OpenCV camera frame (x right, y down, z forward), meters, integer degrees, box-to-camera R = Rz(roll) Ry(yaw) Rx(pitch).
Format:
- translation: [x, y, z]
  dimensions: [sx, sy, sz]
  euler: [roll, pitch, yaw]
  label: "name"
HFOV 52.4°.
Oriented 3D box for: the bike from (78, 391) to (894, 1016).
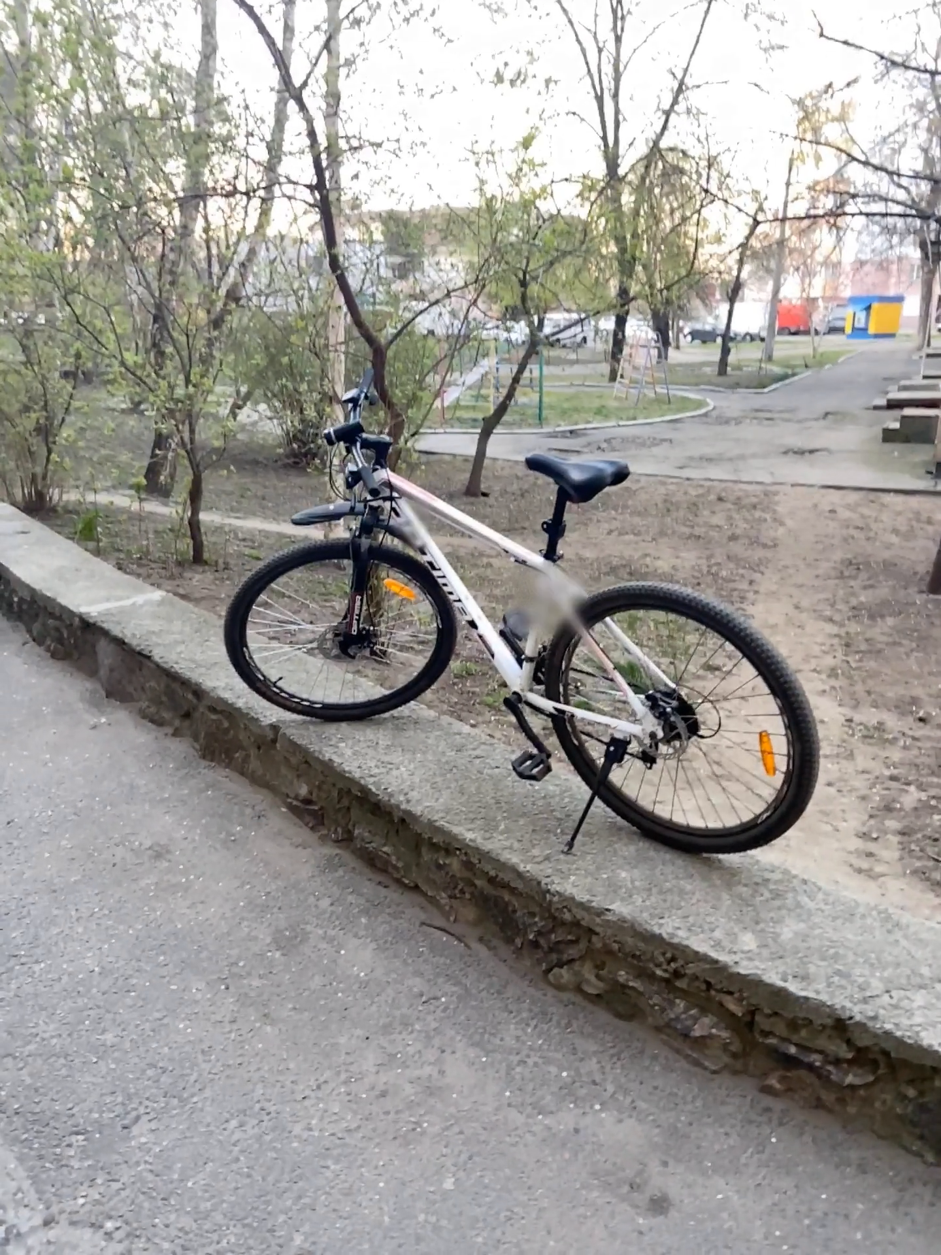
- translation: [-0.037, 0.033, 2.404]
  dimensions: [1.750, 1.146, 0.681]
  euler: [8, 19, 31]
  label: "bike"
